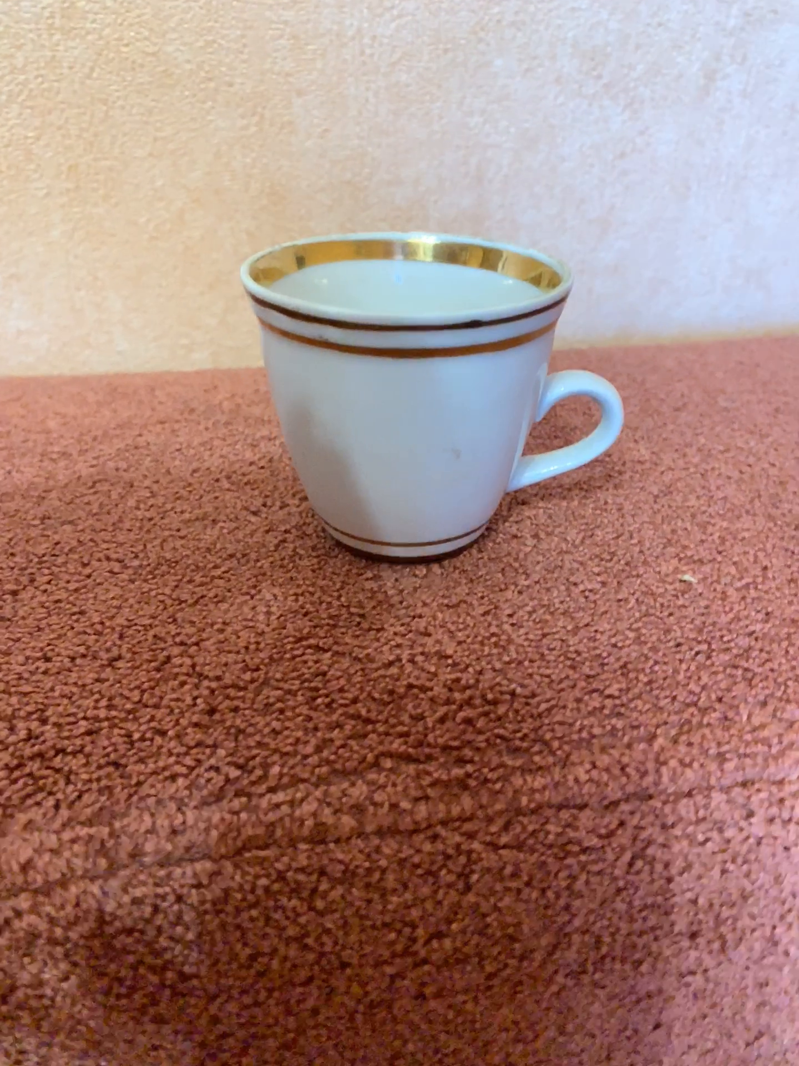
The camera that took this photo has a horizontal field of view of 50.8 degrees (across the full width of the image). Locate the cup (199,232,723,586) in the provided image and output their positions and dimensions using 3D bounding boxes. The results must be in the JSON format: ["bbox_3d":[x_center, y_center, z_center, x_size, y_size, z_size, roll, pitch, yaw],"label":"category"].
[{"bbox_3d":[0.009,-0.026,0.162,0.078,0.048,0.055,1,32,1],"label":"cup"}]
